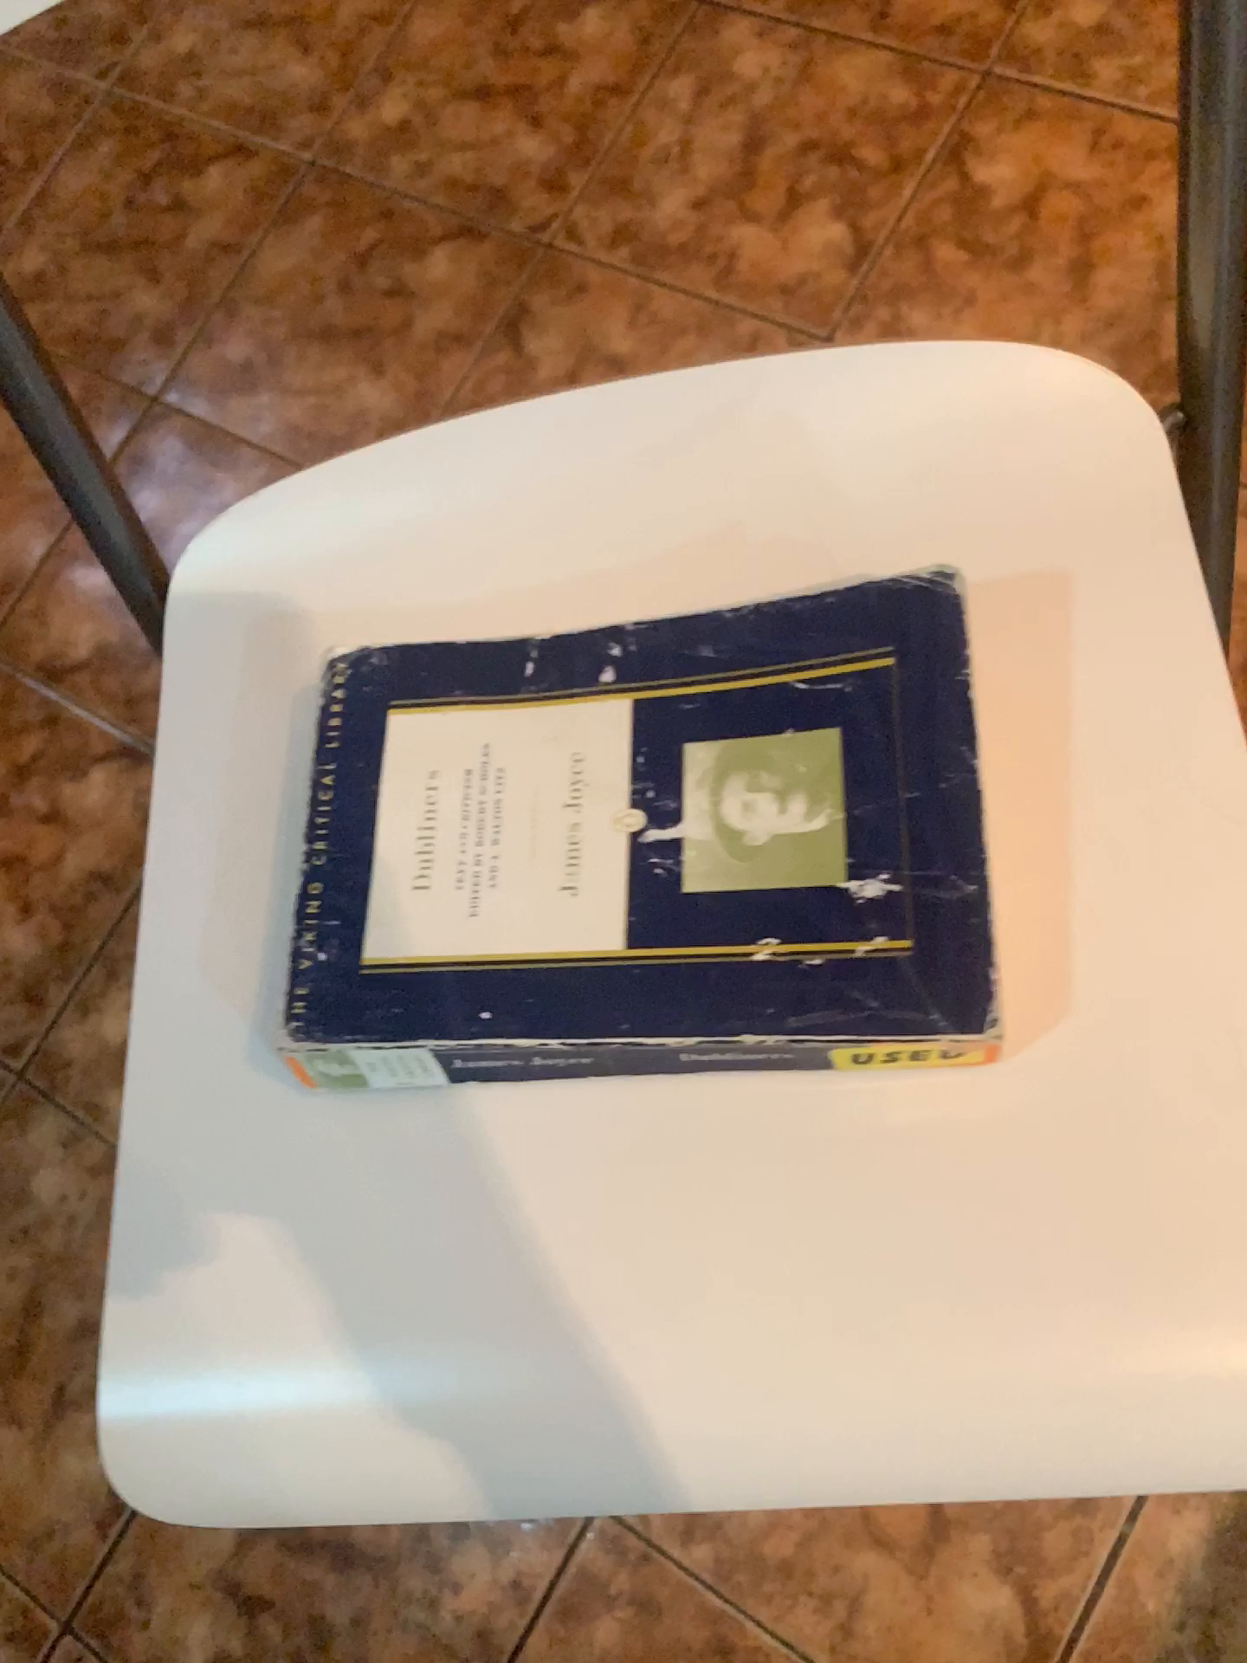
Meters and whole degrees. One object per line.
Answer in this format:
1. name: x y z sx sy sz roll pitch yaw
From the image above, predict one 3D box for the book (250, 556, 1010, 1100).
1. book: -0.002 0.003 0.360 0.197 0.035 0.132 -5 72 13
